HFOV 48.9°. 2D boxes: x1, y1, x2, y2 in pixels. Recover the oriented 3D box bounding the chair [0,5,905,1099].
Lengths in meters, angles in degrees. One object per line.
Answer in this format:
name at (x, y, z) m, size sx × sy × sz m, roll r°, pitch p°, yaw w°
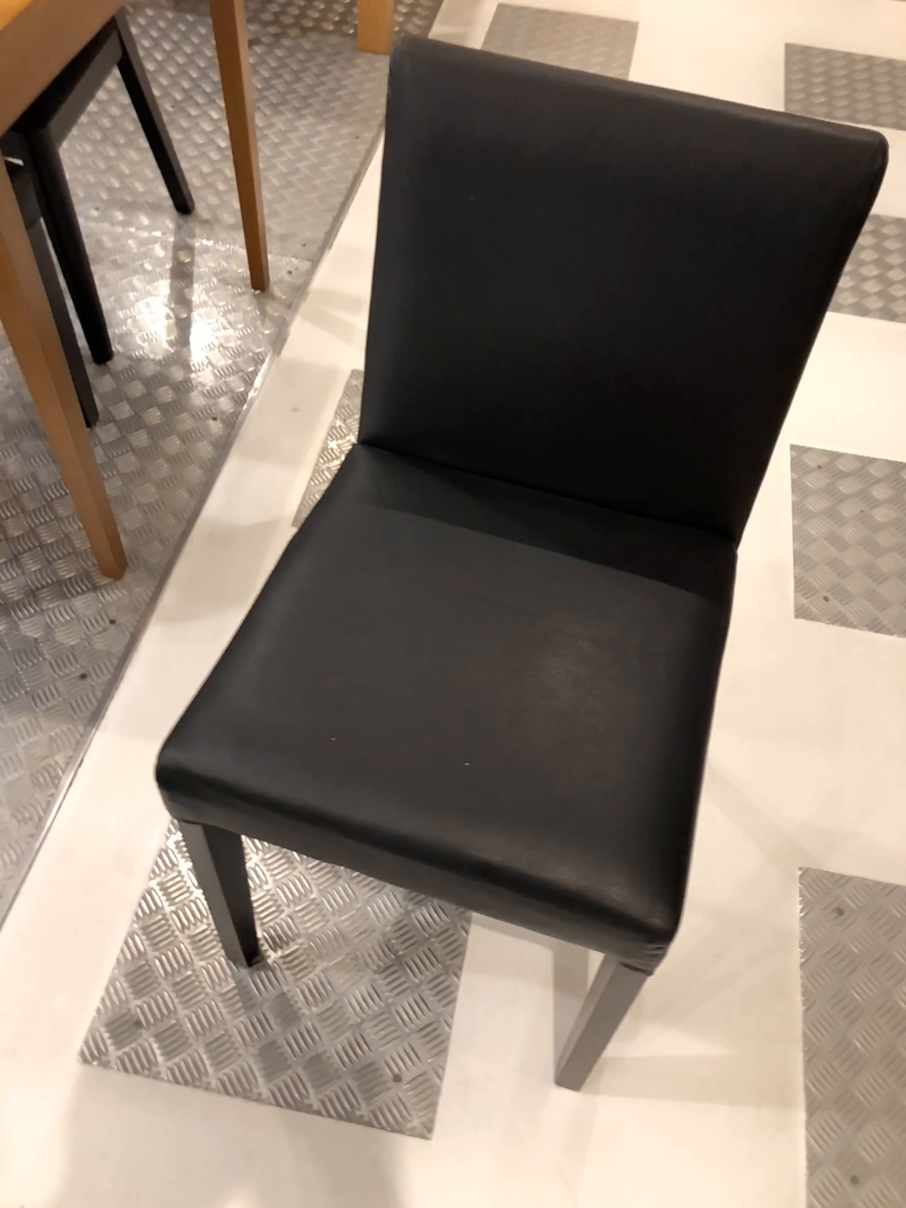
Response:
chair at (0.043, 0.021, 0.962) m, size 0.470 × 0.825 × 0.553 m, roll 17°, pitch 54°, yaw 9°
